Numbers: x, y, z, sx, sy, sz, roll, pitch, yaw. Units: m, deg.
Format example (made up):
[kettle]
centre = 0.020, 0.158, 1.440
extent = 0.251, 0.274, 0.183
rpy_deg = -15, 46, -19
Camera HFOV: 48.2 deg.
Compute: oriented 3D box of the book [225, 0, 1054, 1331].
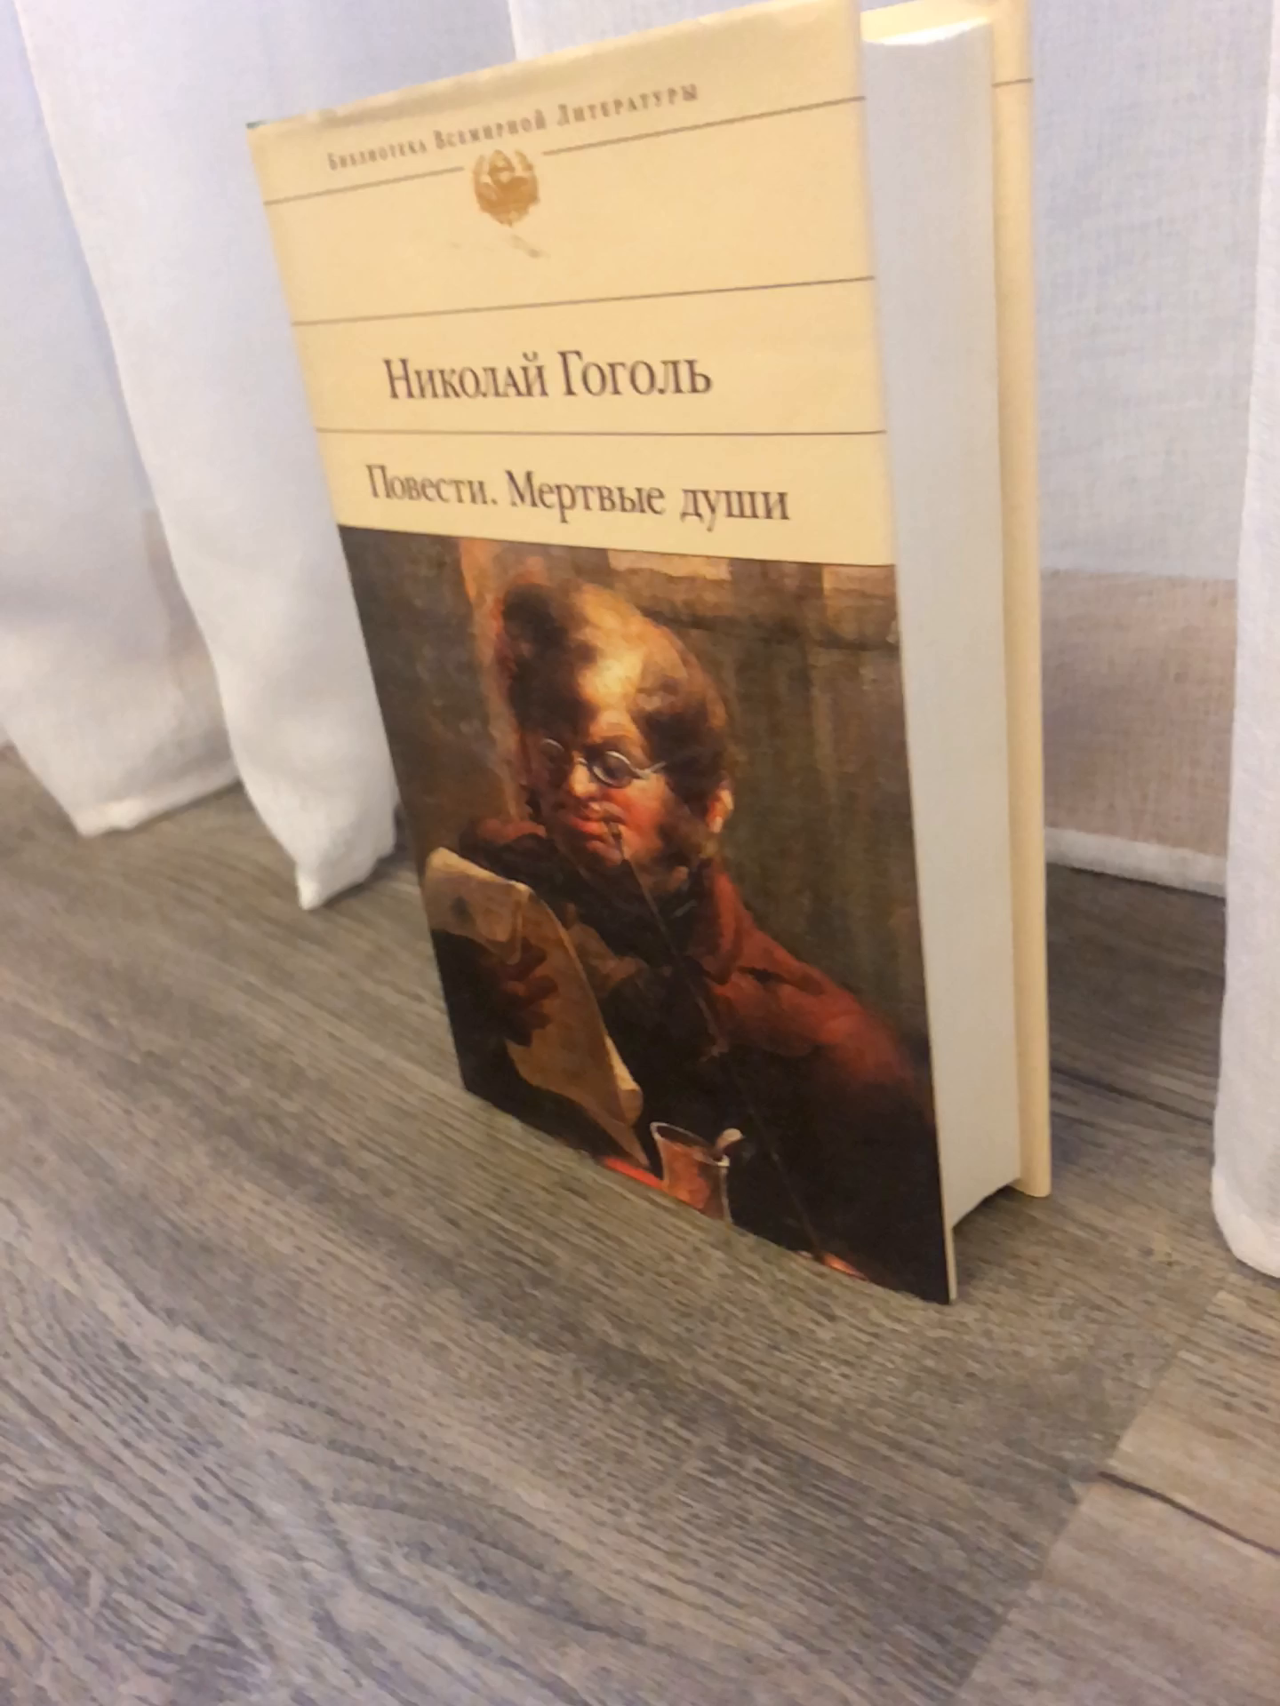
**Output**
[book]
centre = 0.004, -0.031, 0.266
extent = 0.134, 0.209, 0.041
rpy_deg = 14, 33, 41
